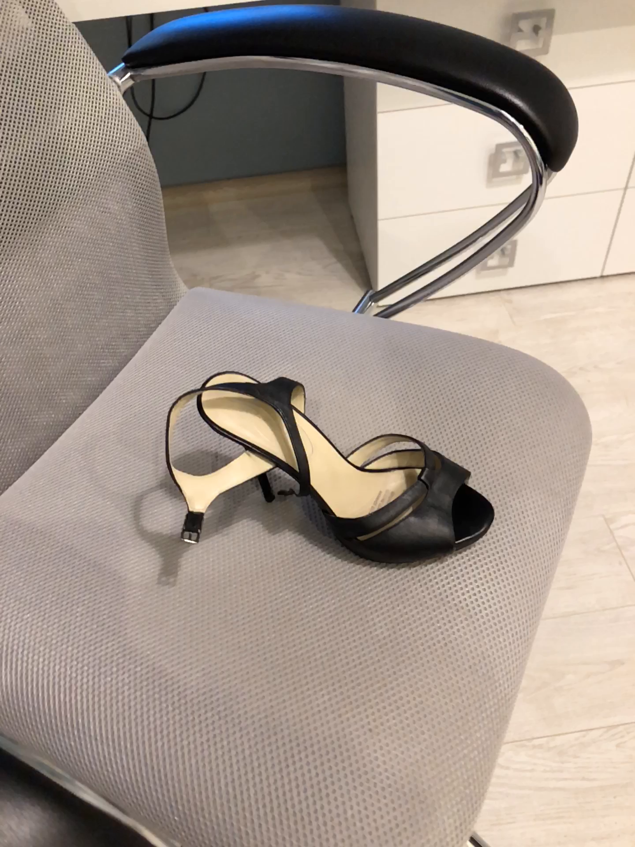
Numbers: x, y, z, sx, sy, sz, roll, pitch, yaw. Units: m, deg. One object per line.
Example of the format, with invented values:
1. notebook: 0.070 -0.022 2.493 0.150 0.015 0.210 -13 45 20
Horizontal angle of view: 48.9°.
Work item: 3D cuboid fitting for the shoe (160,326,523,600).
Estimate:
1. shoe: 0.019 0.025 0.481 0.210 0.119 0.091 12 51 15
